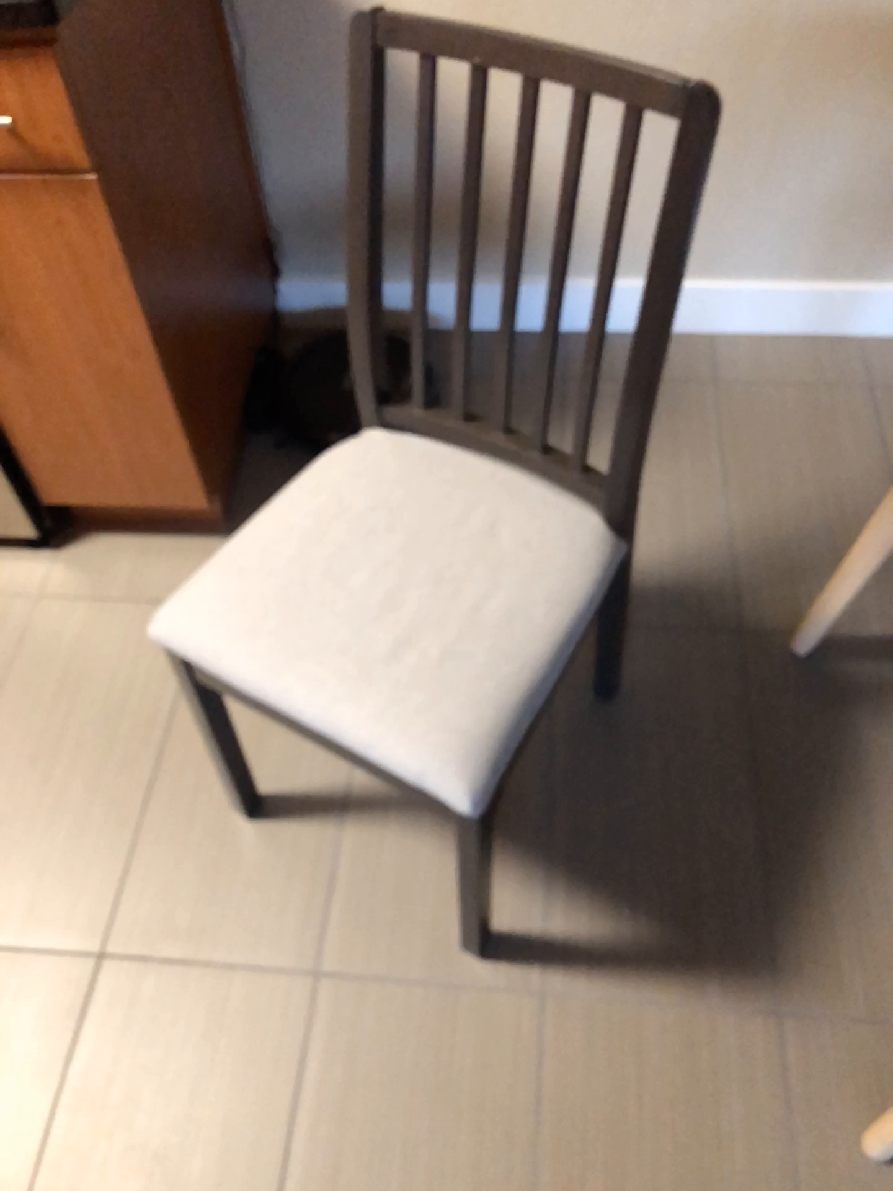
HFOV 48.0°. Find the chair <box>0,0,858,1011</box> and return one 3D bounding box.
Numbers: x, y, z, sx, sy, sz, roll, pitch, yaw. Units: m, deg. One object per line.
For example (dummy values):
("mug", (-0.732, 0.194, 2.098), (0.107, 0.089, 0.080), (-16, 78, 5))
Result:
("chair", (-0.035, -0.080, 1.128), (0.581, 0.847, 0.592), (24, 57, 21))
